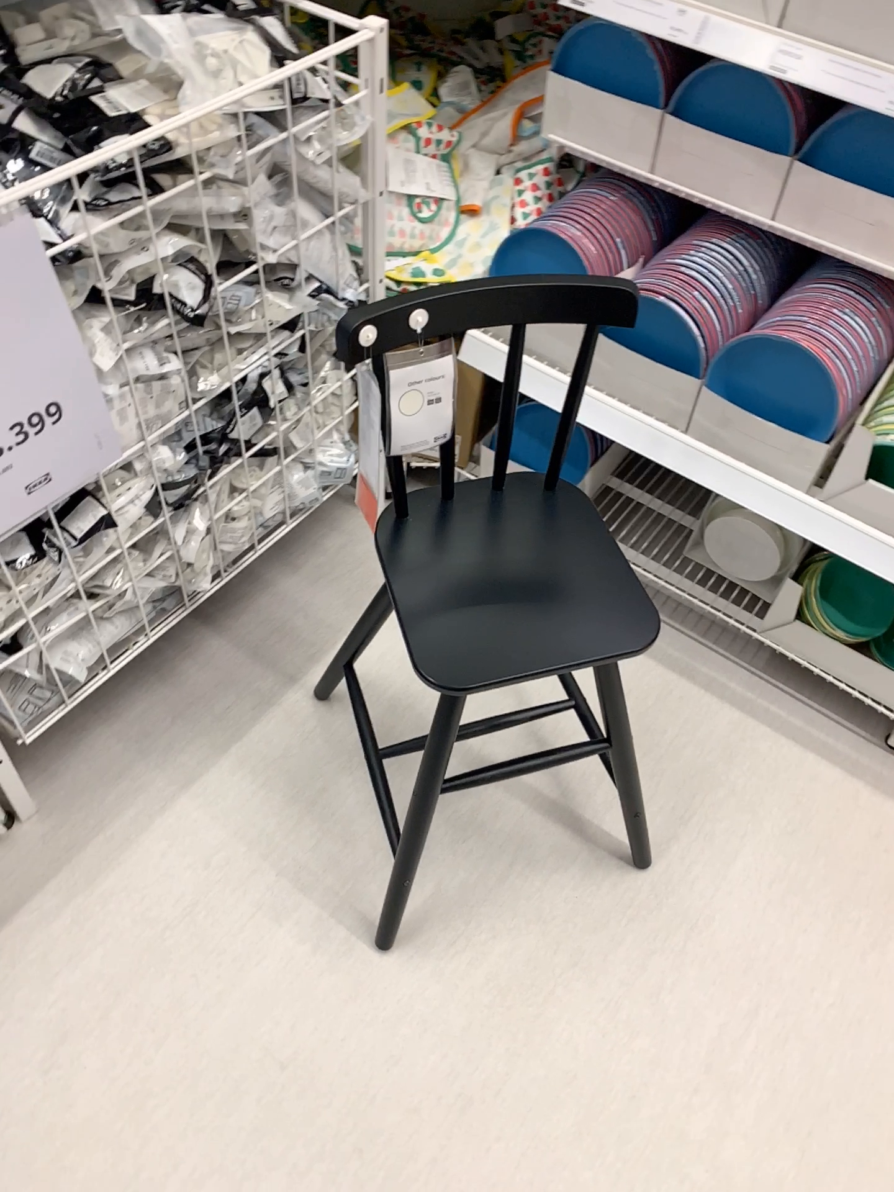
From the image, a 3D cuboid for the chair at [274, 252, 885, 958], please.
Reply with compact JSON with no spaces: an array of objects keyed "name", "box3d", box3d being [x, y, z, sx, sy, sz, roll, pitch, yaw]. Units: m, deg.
[{"name":"chair","box3d":[0.071,0.045,1.101,0.420,0.688,0.461,-11,53,-13]}]
